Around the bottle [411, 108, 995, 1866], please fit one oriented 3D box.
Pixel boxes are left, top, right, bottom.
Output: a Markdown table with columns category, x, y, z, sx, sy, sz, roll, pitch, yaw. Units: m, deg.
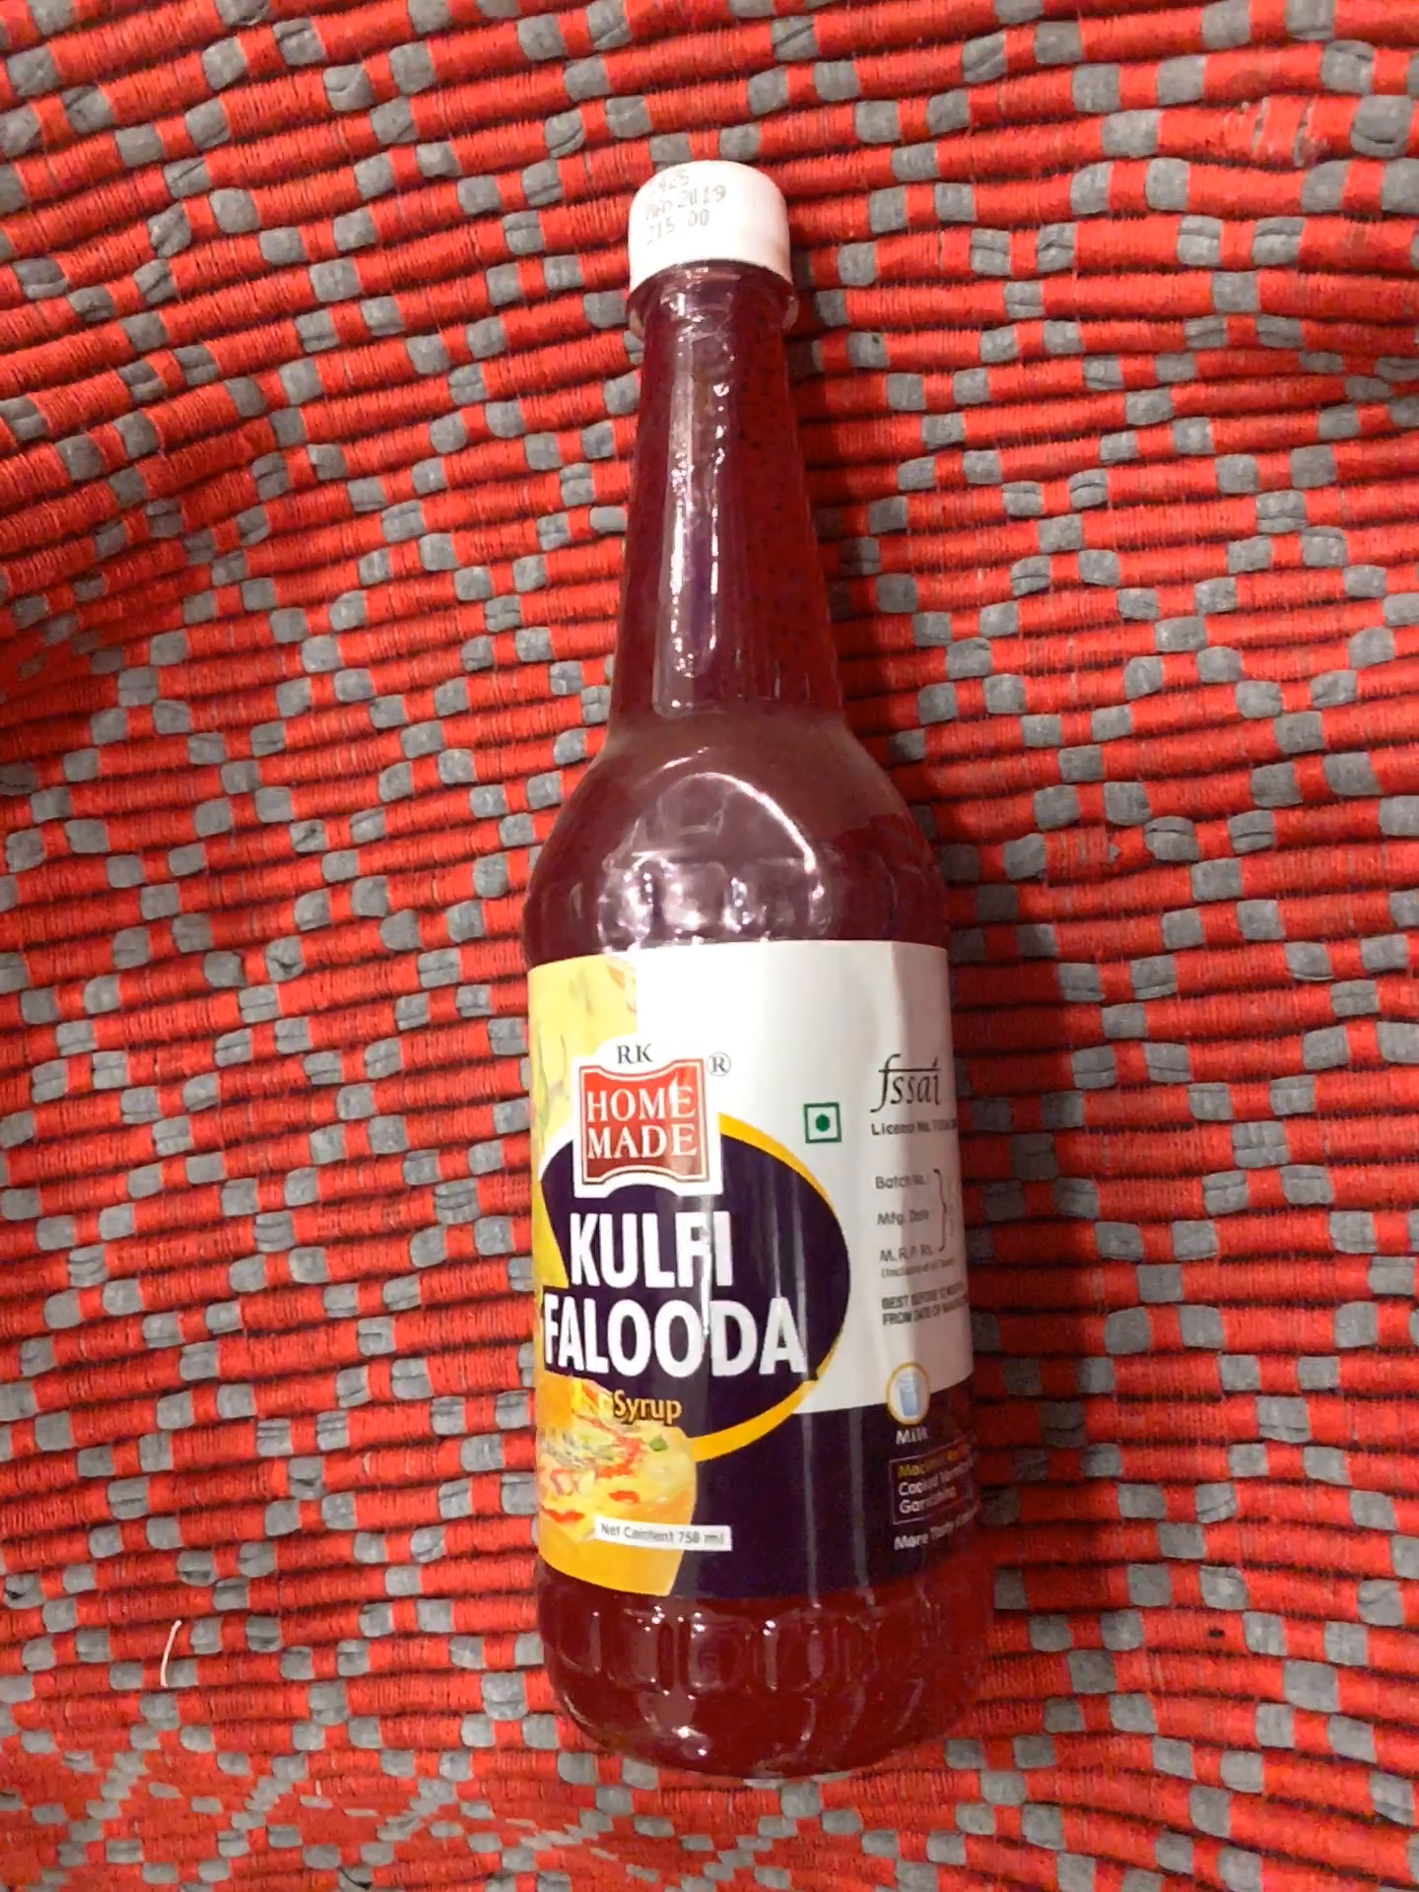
| category | x | y | z | sx | sy | sz | roll | pitch | yaw |
| --- | --- | --- | --- | --- | --- | --- | --- | --- | --- |
| bottle | 0.003 | -0.002 | 0.246 | 0.070 | 0.070 | 0.250 | -4 | 76 | 15 |
